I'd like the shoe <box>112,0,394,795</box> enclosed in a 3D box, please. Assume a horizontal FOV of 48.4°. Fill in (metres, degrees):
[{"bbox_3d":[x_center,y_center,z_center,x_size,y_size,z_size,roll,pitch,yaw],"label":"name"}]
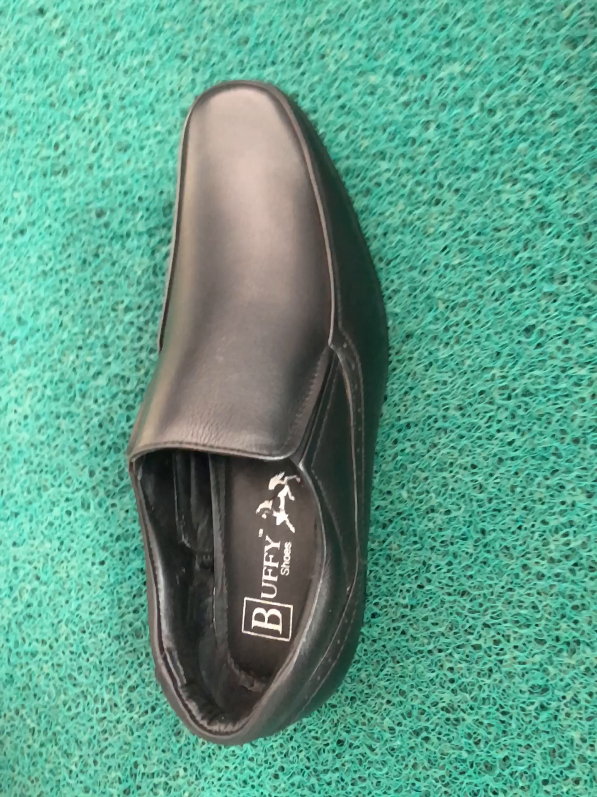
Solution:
[{"bbox_3d":[-0.015,-0.009,0.304,0.100,0.090,0.310,-1,90,18],"label":"shoe"}]
